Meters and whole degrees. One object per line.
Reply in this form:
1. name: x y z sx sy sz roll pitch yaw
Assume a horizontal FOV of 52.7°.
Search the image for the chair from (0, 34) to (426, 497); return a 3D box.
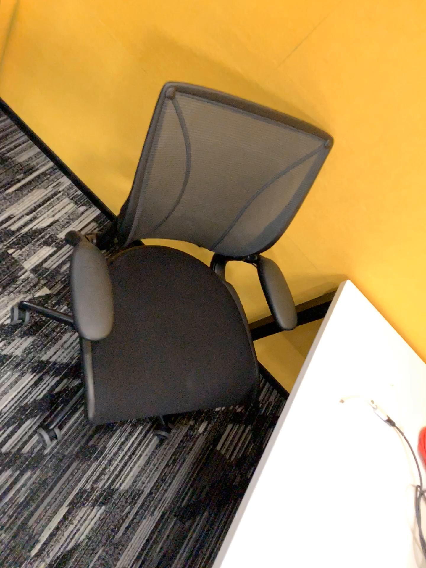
1. chair: -0.108 0.062 0.972 0.542 0.815 0.571 -1 73 -36
